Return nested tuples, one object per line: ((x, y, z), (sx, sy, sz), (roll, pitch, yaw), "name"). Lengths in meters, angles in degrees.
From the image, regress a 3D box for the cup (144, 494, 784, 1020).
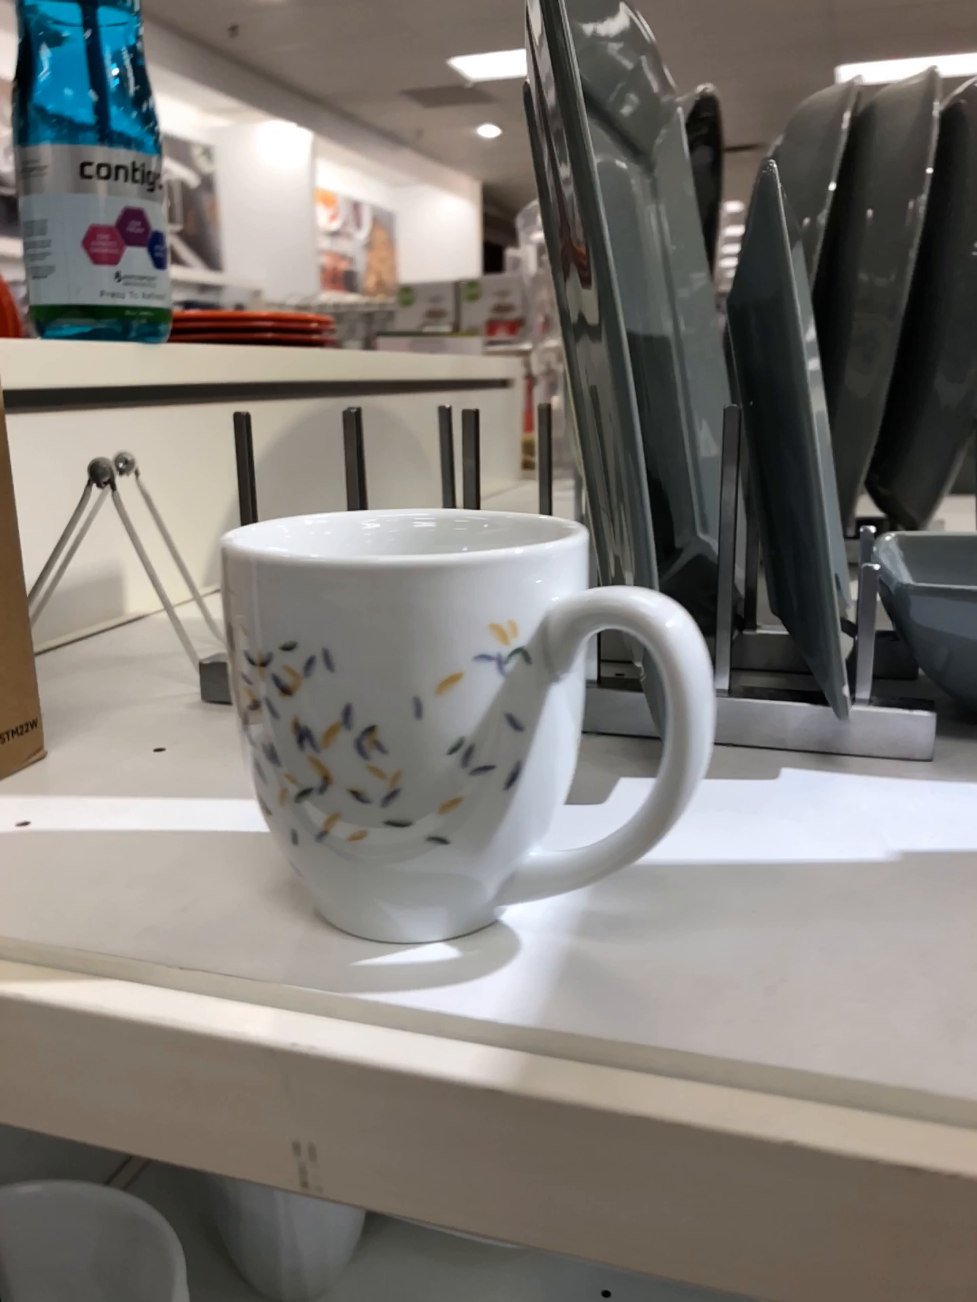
((-0.002, 0.013, 0.277), (0.127, 0.091, 0.093), (7, 16, 28), "cup")
